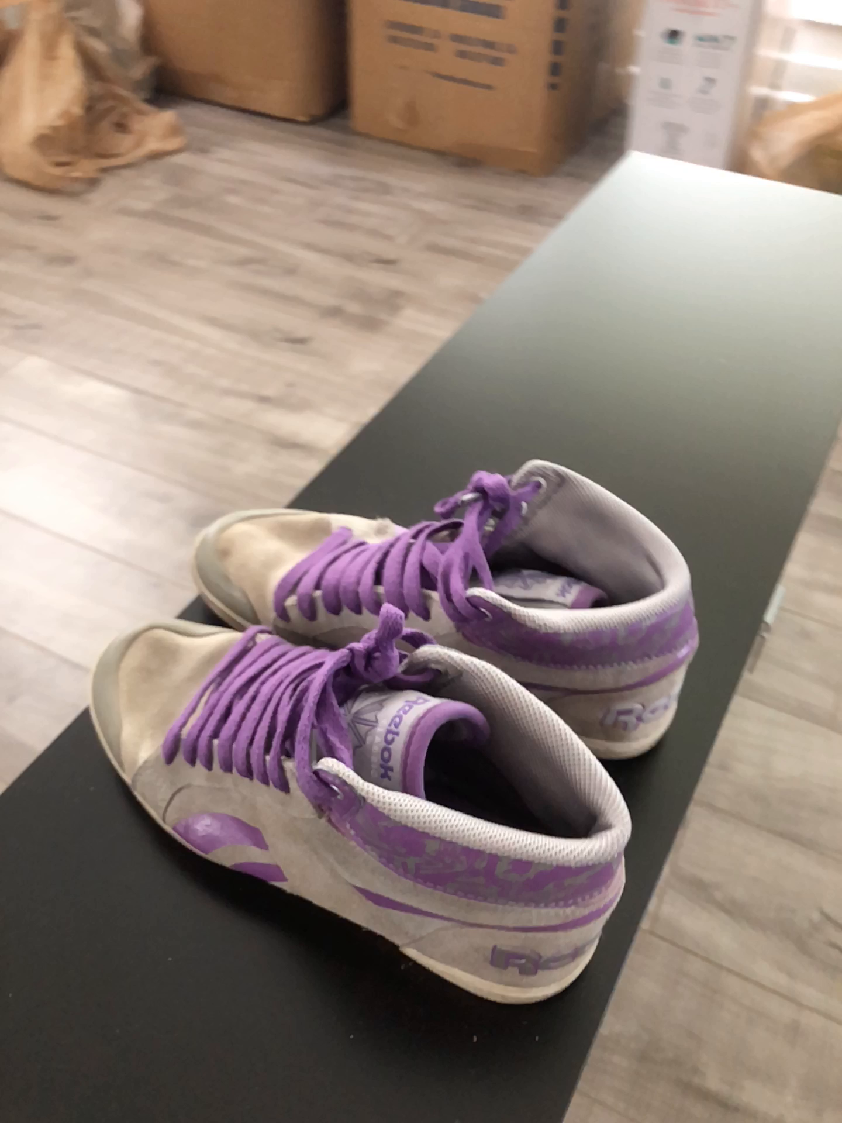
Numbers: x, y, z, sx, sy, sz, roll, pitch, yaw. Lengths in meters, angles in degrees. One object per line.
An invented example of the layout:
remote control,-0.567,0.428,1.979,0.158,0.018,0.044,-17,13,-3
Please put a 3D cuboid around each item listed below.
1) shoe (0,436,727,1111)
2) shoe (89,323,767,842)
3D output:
shoe,-0.034,0.064,0.337,0.240,0.110,0.090,26,51,23
shoe,0.001,0.003,0.402,0.240,0.120,0.100,18,48,16
